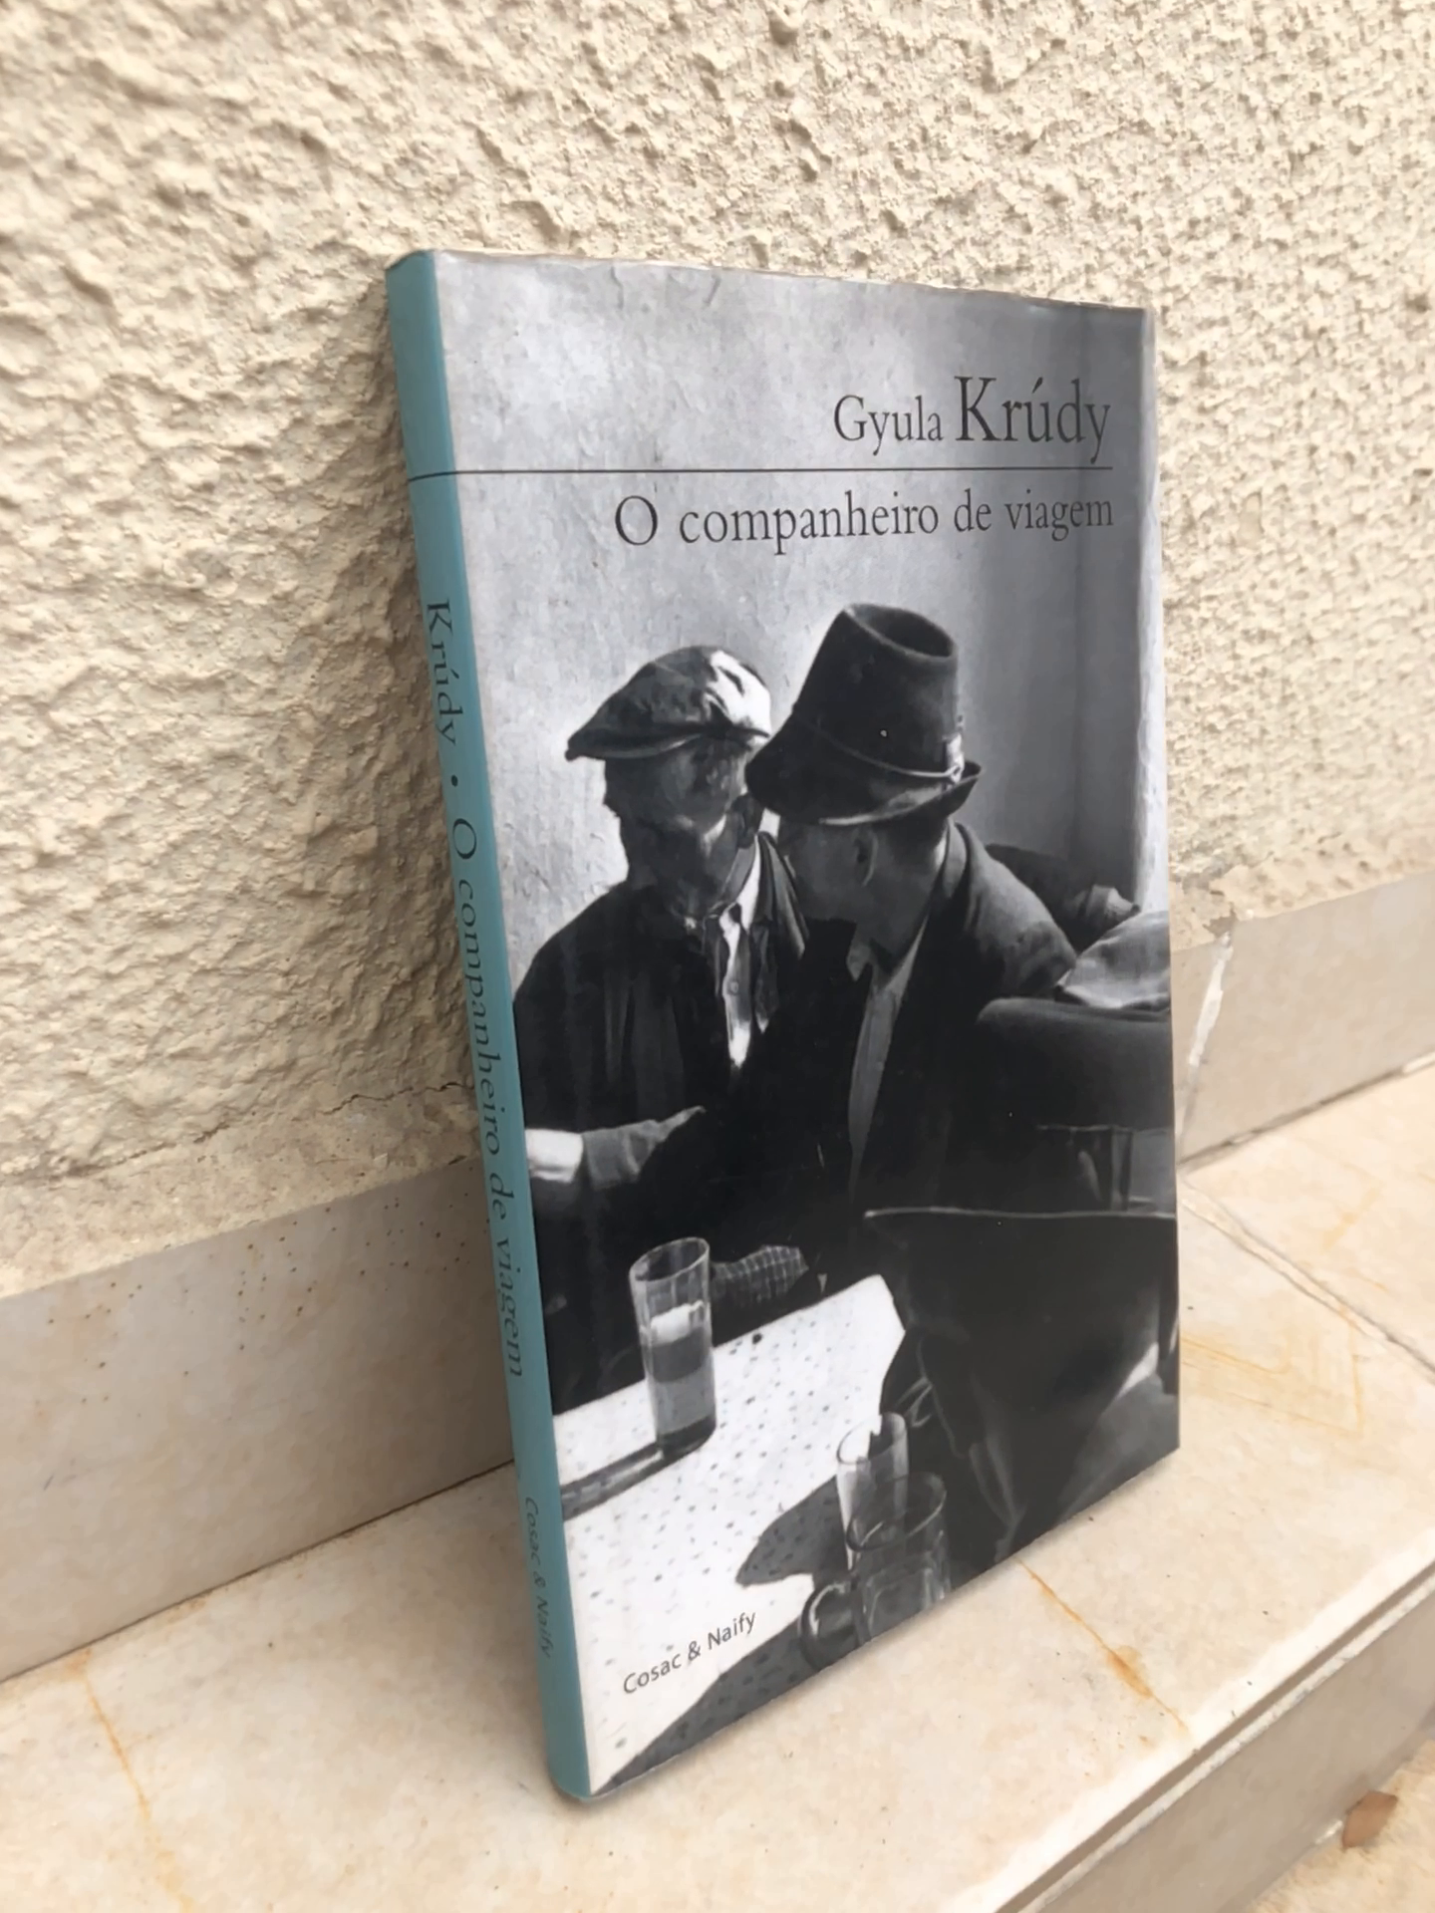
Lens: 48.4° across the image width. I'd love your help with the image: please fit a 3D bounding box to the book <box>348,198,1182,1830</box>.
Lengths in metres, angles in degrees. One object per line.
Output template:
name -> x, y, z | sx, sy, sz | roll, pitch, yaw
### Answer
book -> 0.021, 0.004, 0.244 | 0.137, 0.205, 0.019 | -13, 14, -38
